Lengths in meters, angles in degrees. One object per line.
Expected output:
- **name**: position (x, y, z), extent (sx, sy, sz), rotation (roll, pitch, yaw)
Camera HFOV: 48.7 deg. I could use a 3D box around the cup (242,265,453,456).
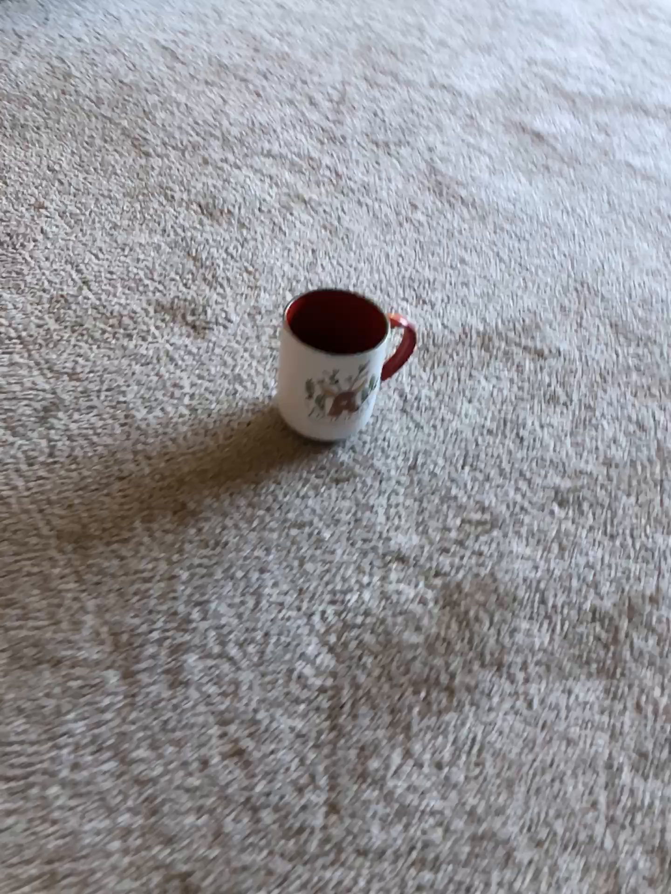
- **cup**: position (0.005, -0.076, 0.628), extent (0.140, 0.090, 0.100), rotation (-17, 51, -21)
